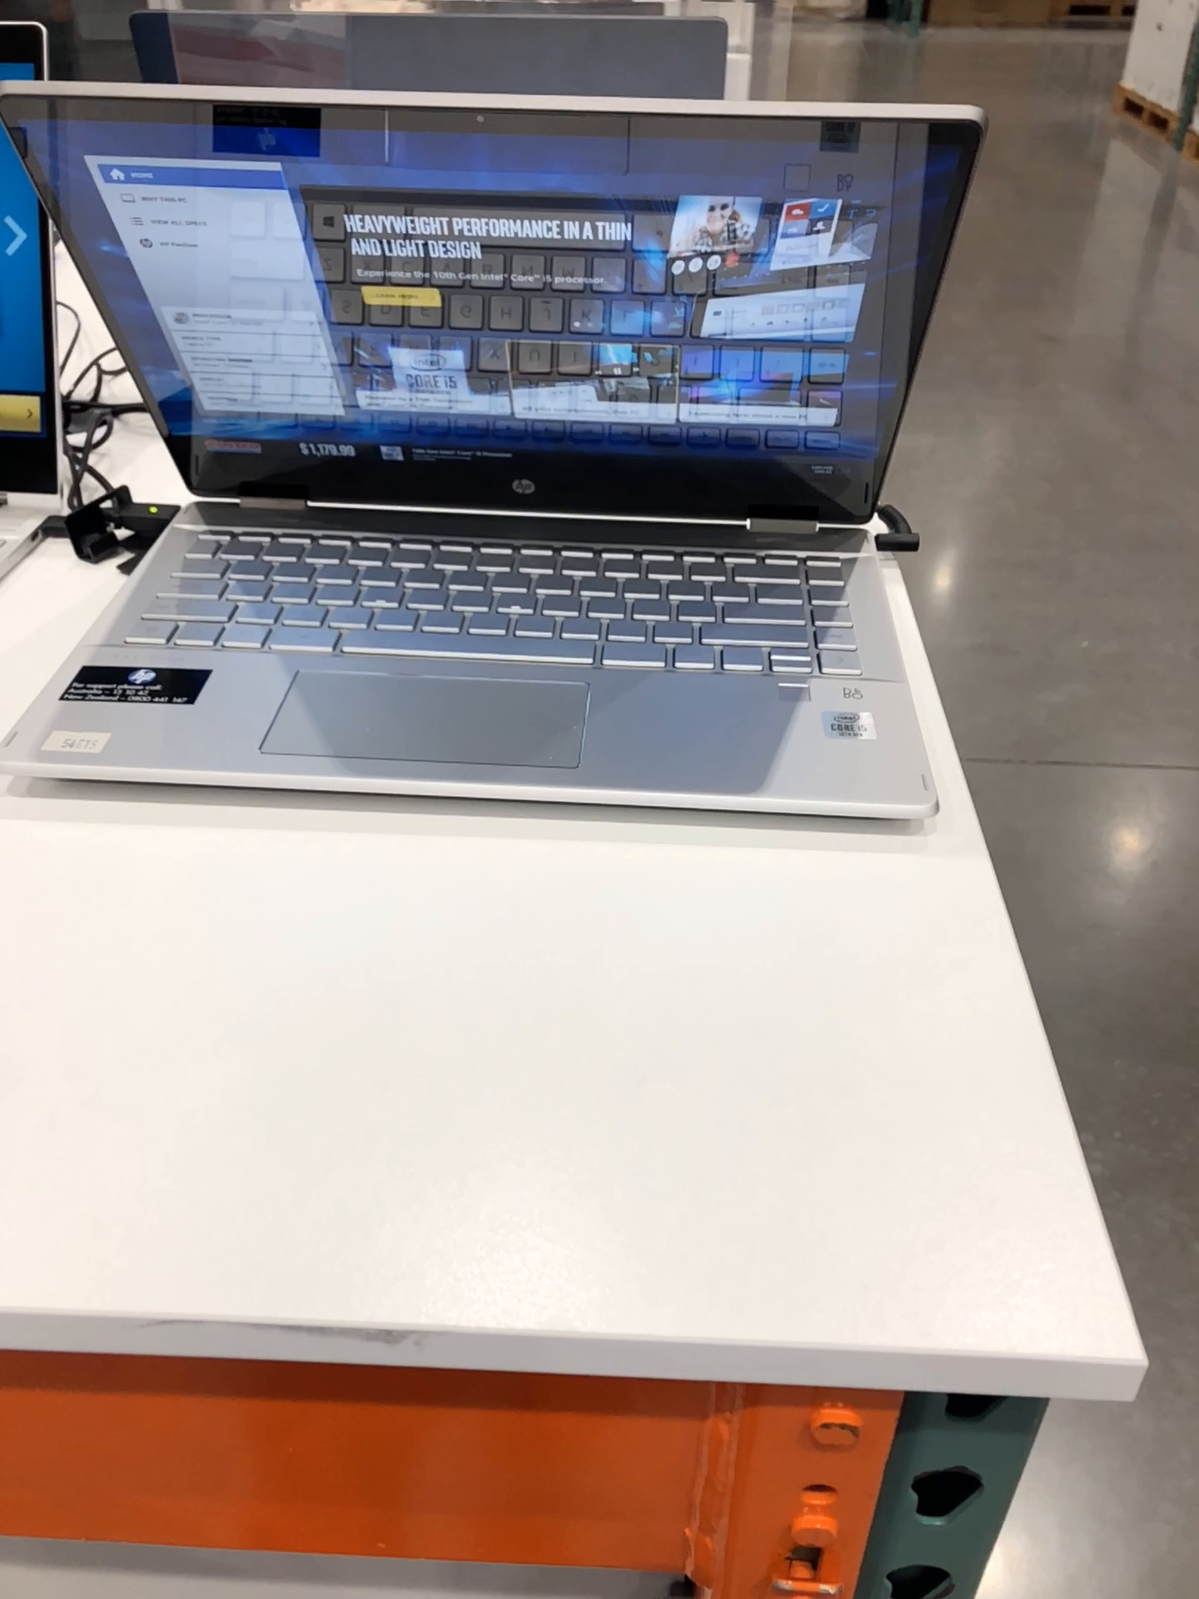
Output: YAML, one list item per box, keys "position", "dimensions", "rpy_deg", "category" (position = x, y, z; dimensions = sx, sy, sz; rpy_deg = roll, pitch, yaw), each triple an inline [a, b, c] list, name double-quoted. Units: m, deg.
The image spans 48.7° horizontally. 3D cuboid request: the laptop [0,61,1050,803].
- position: [-0.042, -0.142, 0.471]
  dimensions: [0.317, 0.185, 0.207]
  rpy_deg: [2, 36, 4]
  category: "laptop"
